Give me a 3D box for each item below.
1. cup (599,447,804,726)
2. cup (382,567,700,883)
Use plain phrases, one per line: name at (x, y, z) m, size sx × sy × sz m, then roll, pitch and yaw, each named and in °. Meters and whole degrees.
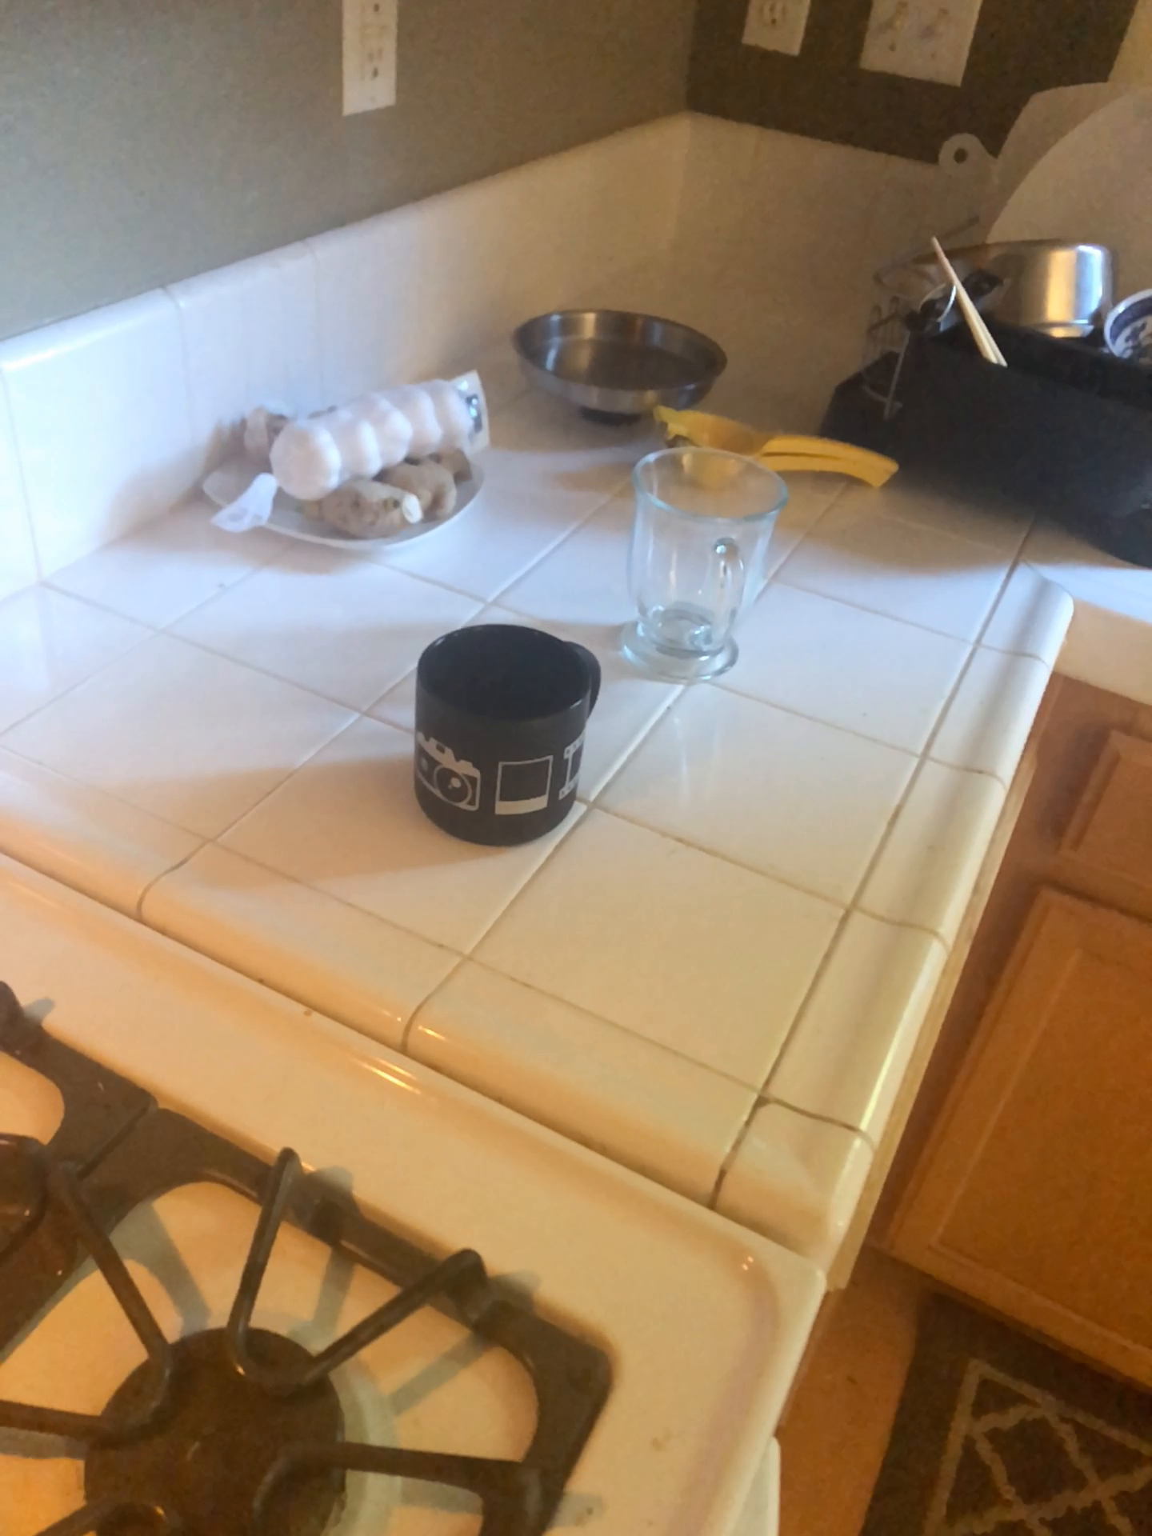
cup at (0.072, -0.116, 0.798) m, size 0.100 × 0.109 × 0.141 m, roll 4°, pitch 38°, yaw -4°
cup at (-0.020, -0.028, 0.677) m, size 0.100 × 0.089 × 0.131 m, roll 33°, pitch 45°, yaw 29°
